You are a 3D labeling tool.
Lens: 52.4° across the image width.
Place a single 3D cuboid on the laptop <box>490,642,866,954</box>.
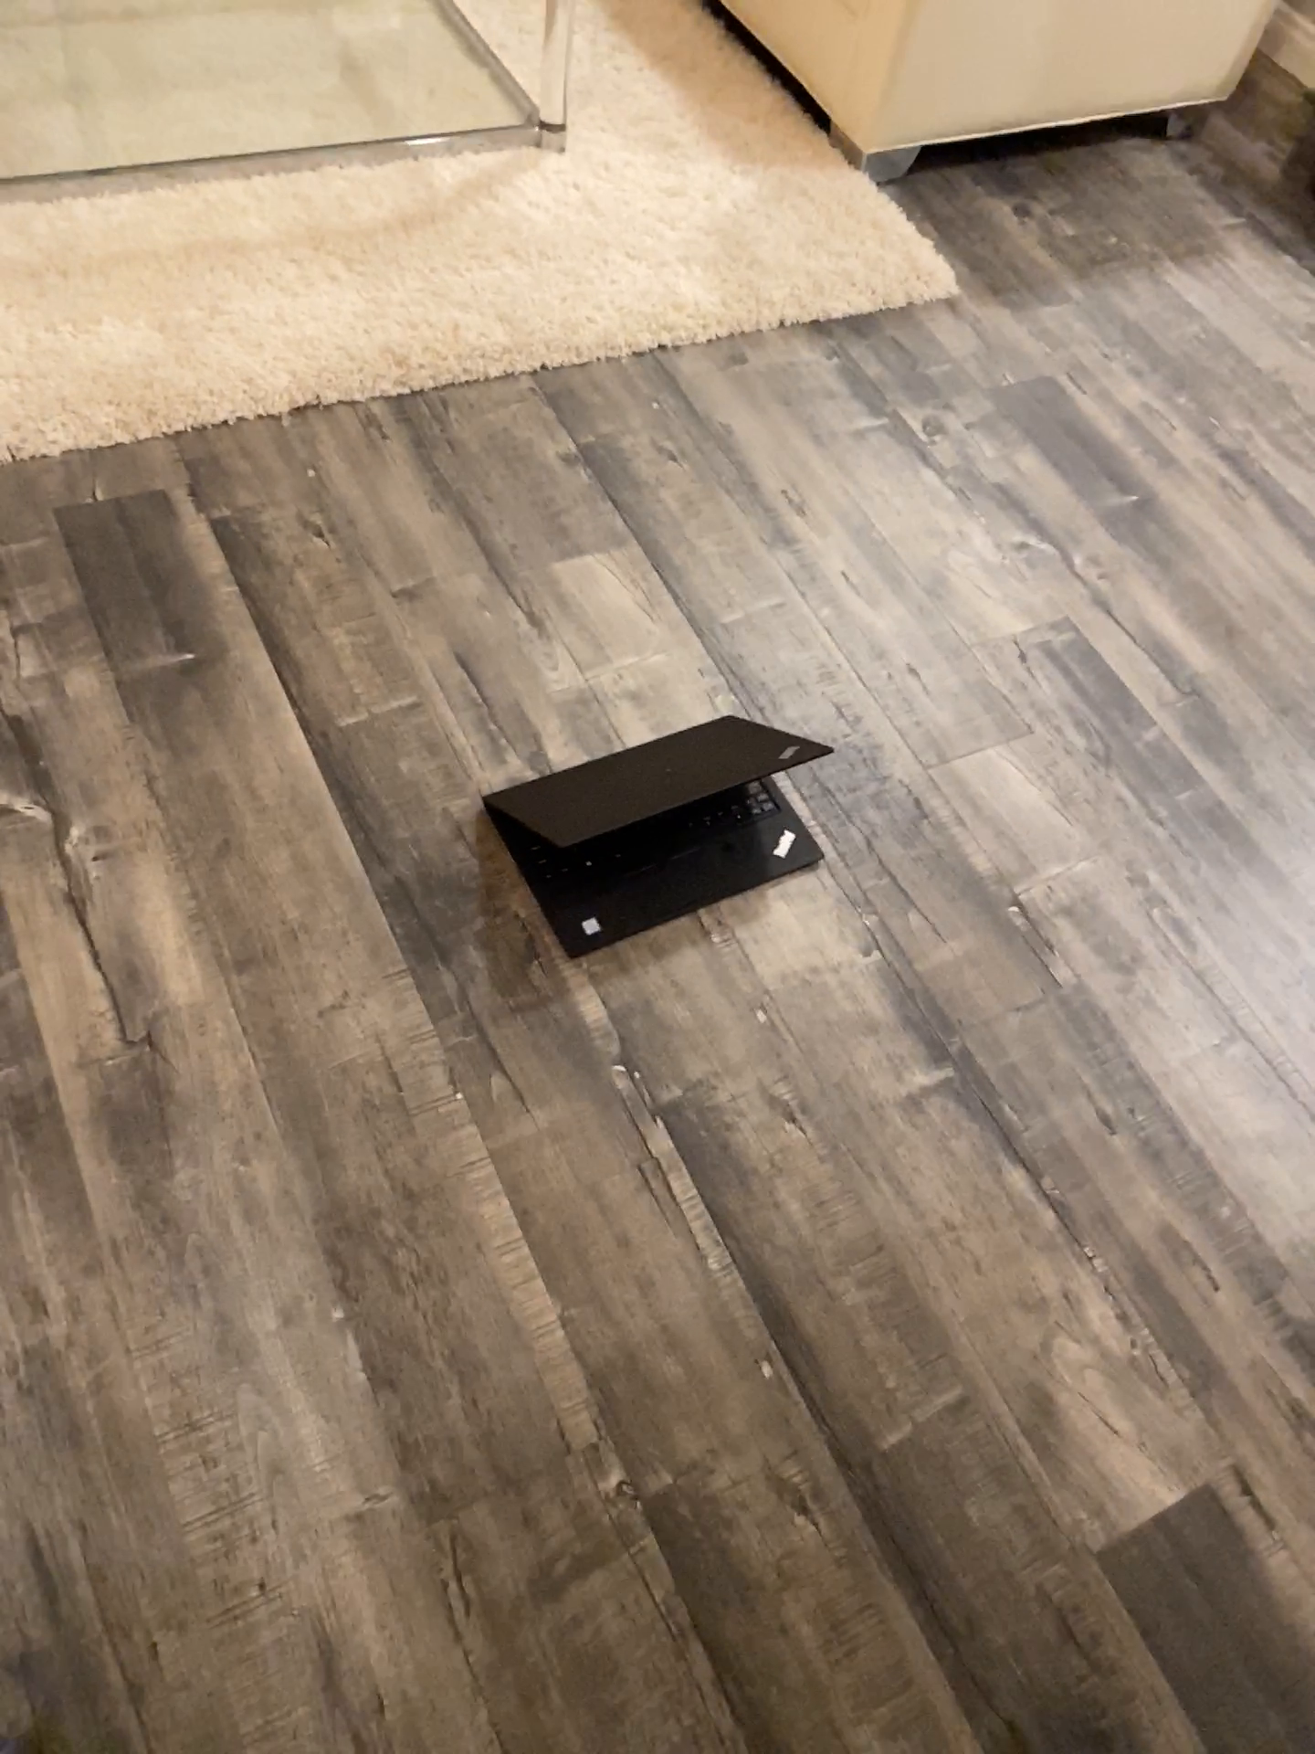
[{"bbox_3d":[0.017,-0.090,1.414,0.315,0.124,0.219,-20,62,-23],"label":"laptop"}]
